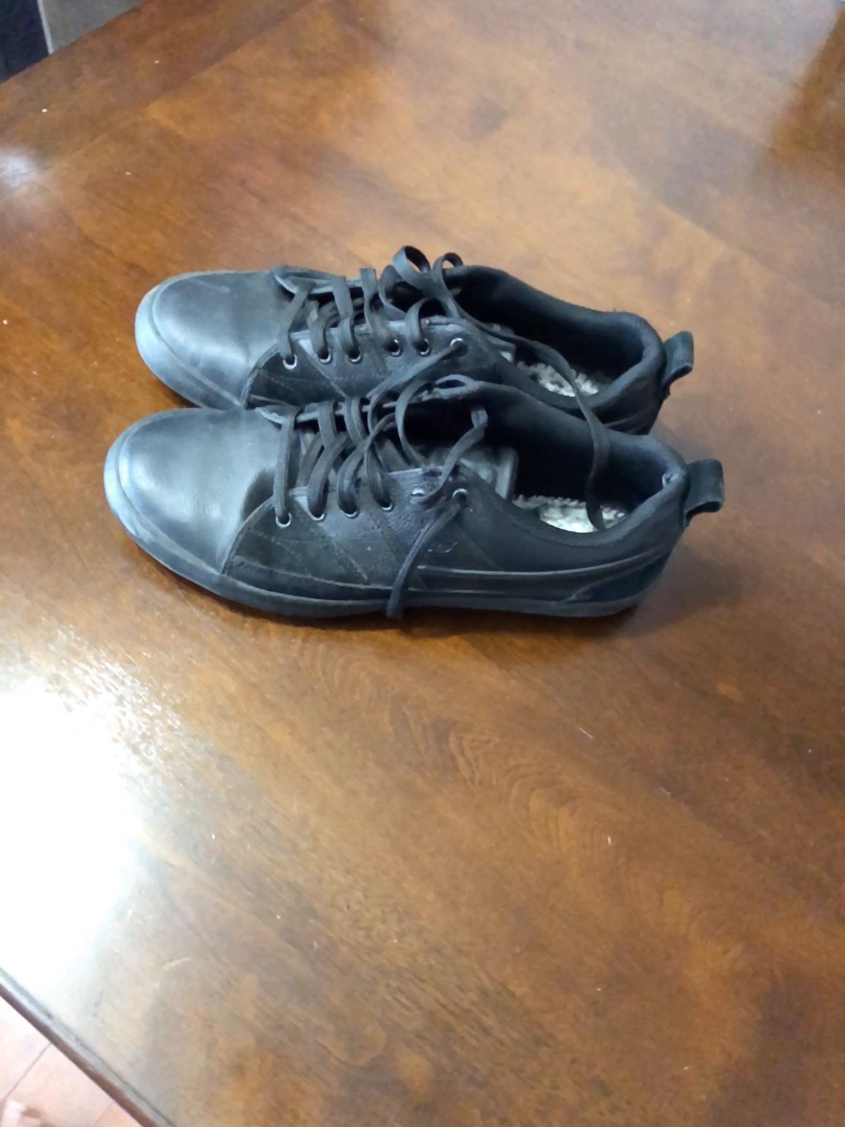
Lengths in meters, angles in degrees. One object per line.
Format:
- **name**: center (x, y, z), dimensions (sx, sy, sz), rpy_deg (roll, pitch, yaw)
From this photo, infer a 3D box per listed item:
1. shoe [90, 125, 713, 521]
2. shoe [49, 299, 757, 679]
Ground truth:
- **shoe**: center (-0.007, -0.127, 0.518), dimensions (0.300, 0.110, 0.110), rpy_deg (11, 61, -3)
- **shoe**: center (-0.007, -0.030, 0.468), dimensions (0.300, 0.110, 0.110), rpy_deg (7, 61, -5)
